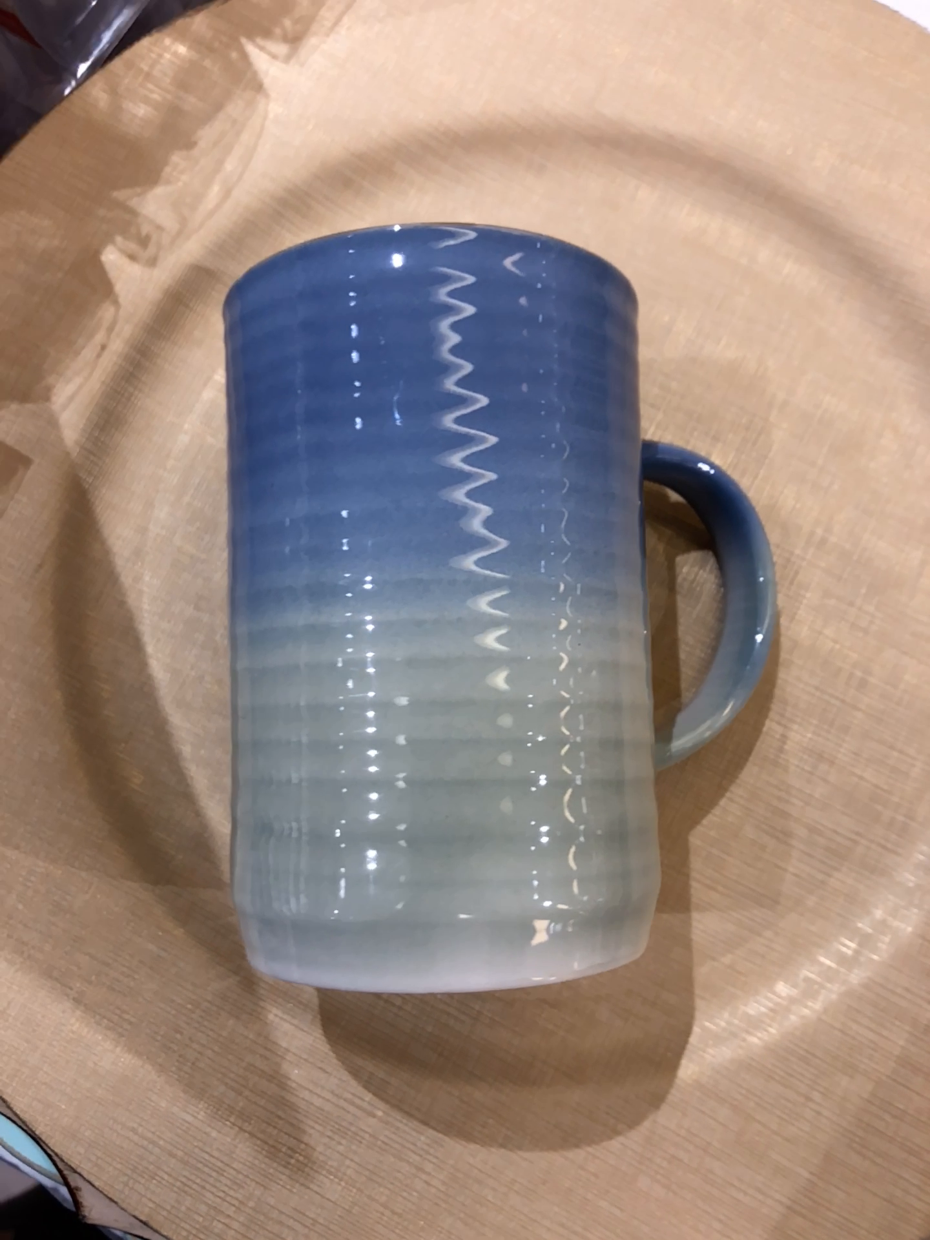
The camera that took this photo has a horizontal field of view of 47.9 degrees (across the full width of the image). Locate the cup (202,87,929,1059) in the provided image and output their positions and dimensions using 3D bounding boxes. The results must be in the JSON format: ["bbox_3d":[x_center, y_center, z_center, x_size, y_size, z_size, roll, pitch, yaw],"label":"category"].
[{"bbox_3d":[0.016,-0.006,0.193,0.120,0.060,0.140,1,79,-17],"label":"cup"}]
